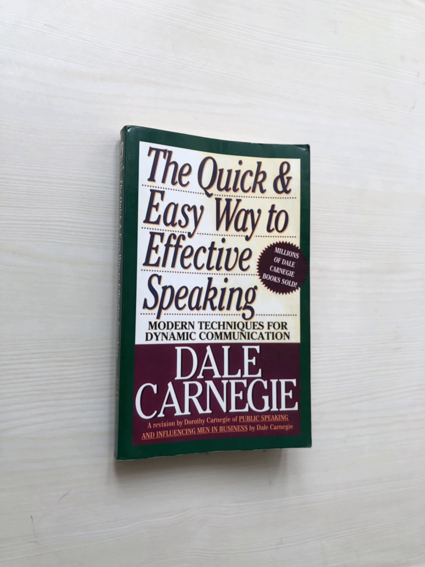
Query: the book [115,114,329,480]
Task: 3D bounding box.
[{"bbox_3d":[0.006,0.008,0.267,0.110,0.040,0.180,2,85,-15],"label":"book"}]
